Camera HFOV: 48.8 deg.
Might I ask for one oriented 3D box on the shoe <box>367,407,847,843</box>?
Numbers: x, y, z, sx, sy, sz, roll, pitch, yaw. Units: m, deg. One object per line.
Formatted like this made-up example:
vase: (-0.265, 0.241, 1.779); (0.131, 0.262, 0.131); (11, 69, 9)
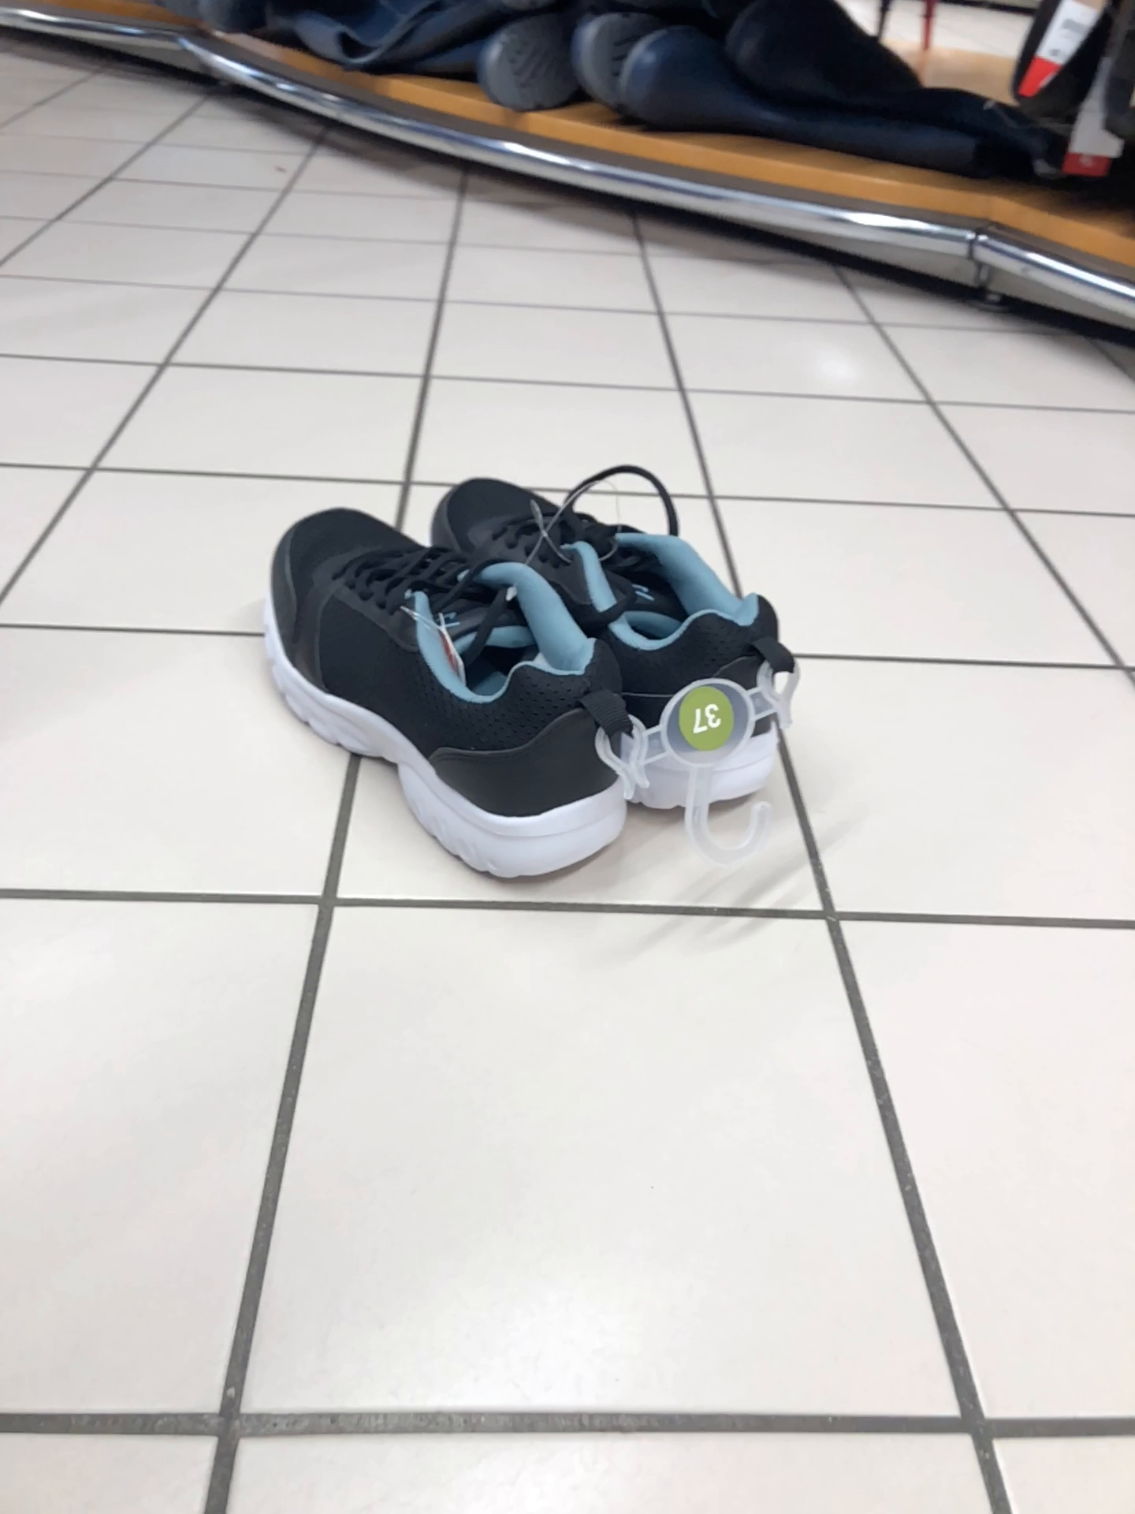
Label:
shoe: (0.004, -0.078, 0.610); (0.100, 0.099, 0.241); (-16, 40, -32)

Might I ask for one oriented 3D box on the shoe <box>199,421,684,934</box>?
shoe: (-0.067, -0.050, 0.566); (0.100, 0.109, 0.241); (-19, 42, -29)
